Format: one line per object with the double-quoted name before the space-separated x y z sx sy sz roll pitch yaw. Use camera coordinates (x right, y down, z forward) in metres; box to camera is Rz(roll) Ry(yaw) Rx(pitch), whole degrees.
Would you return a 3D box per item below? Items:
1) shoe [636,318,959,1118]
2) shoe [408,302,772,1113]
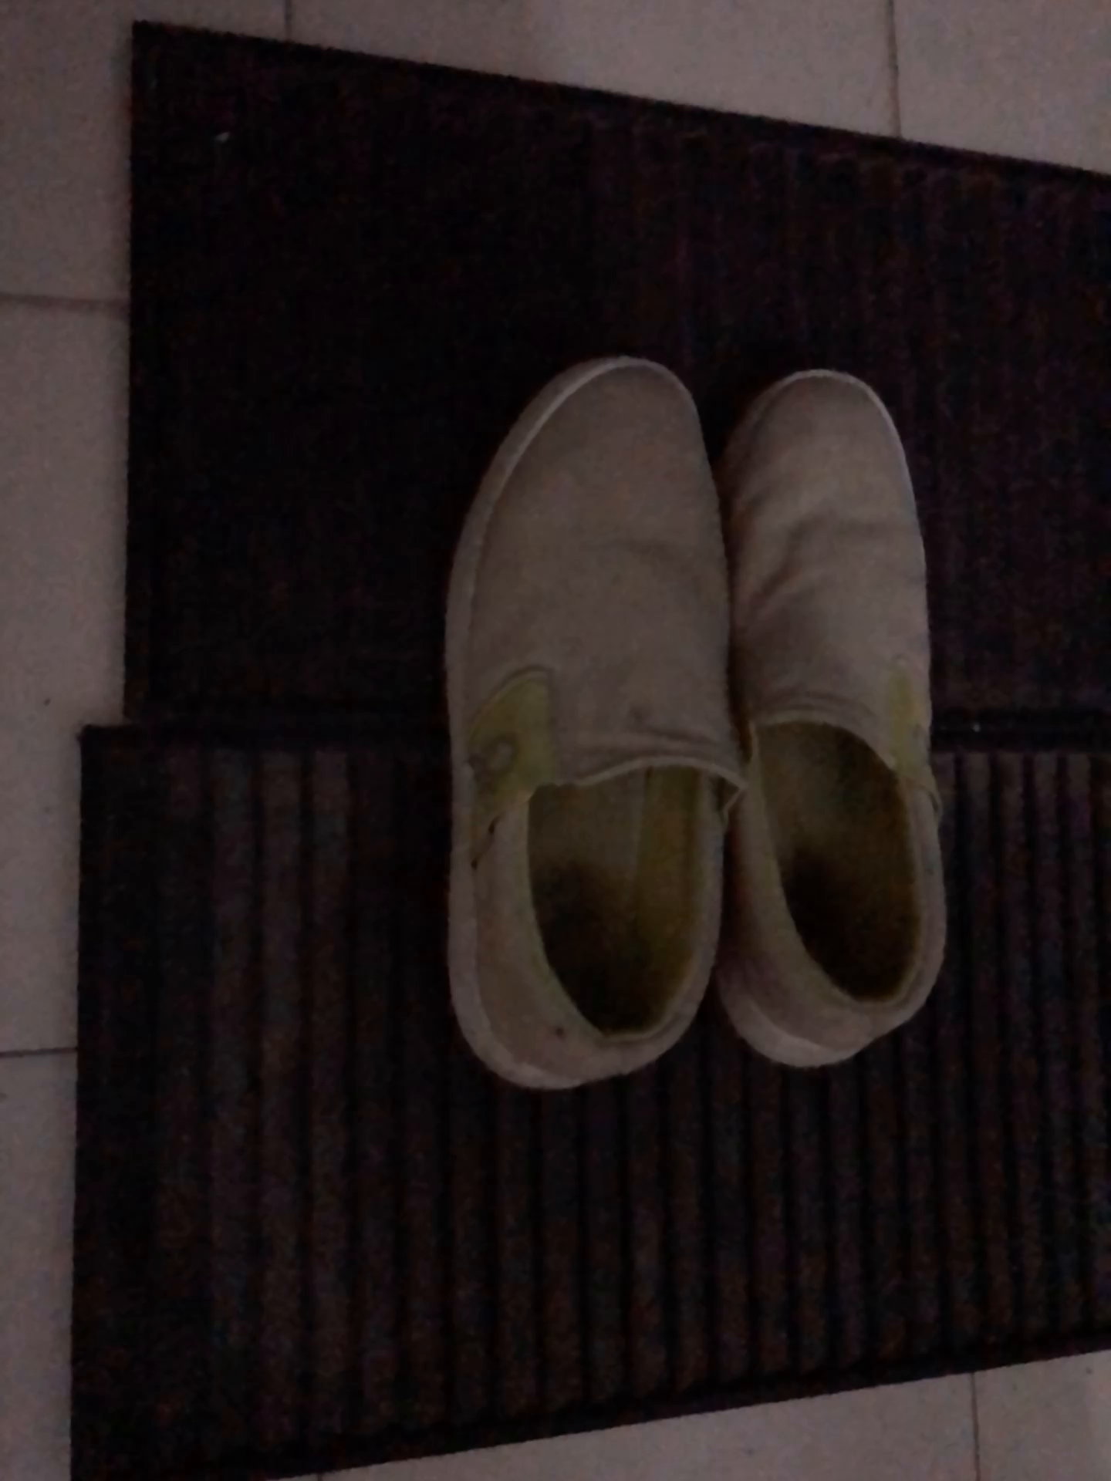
"shoe" 0.107 -0.007 0.558 0.110 0.090 0.330 4 82 -15
"shoe" 0.013 -0.009 0.507 0.120 0.090 0.300 4 82 -15
